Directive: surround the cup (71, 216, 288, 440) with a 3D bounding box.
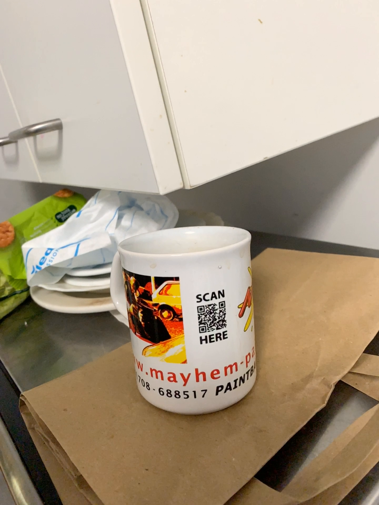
[{"bbox_3d":[-0.007,0.031,0.239,0.078,0.088,0.100,-16,17,-38],"label":"cup"}]
